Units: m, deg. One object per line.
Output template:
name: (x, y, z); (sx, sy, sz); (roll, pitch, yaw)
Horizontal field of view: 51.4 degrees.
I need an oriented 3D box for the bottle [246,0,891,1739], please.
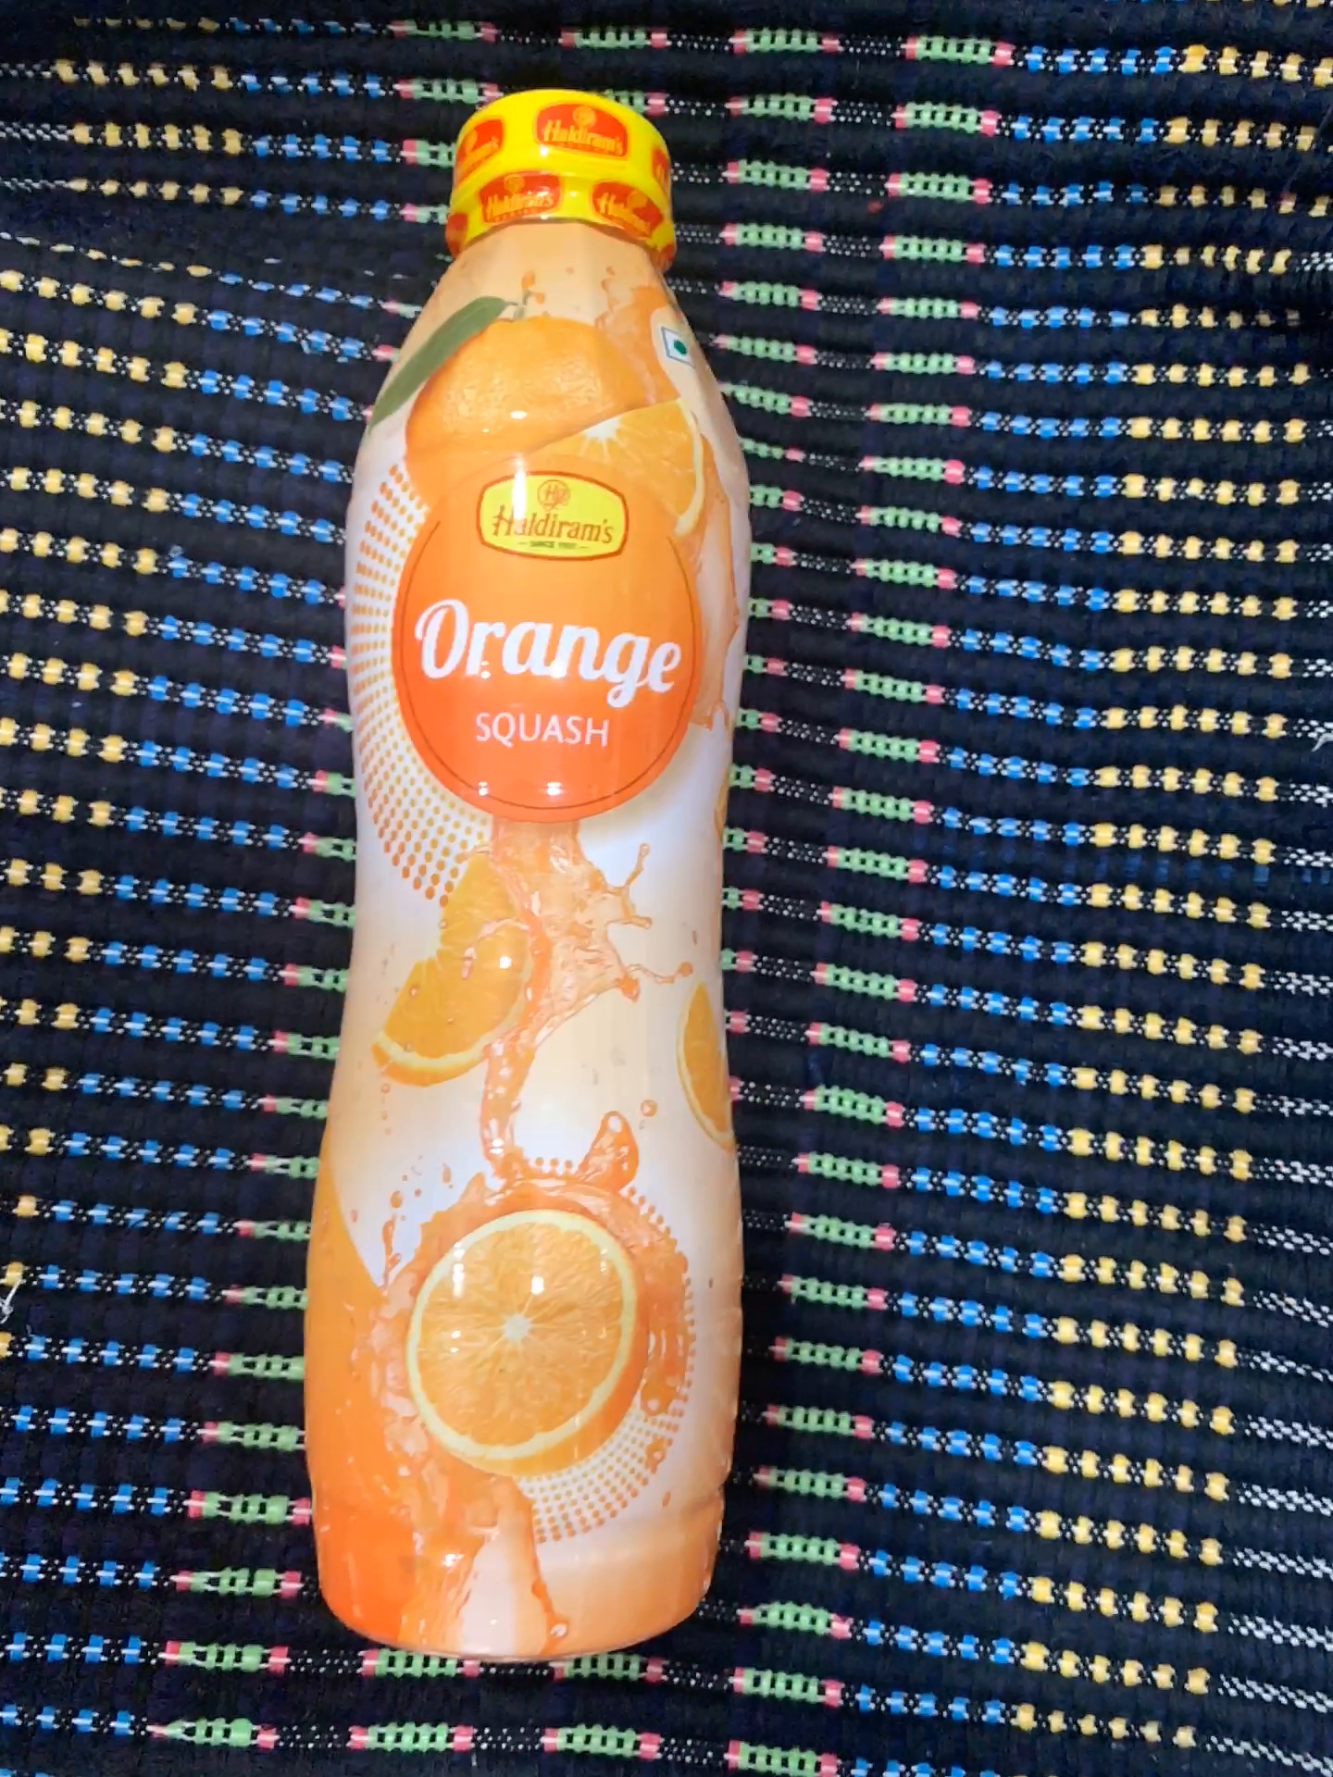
bottle: (-0.011, -0.012, 0.224); (0.080, 0.060, 0.250); (3, 81, -5)
